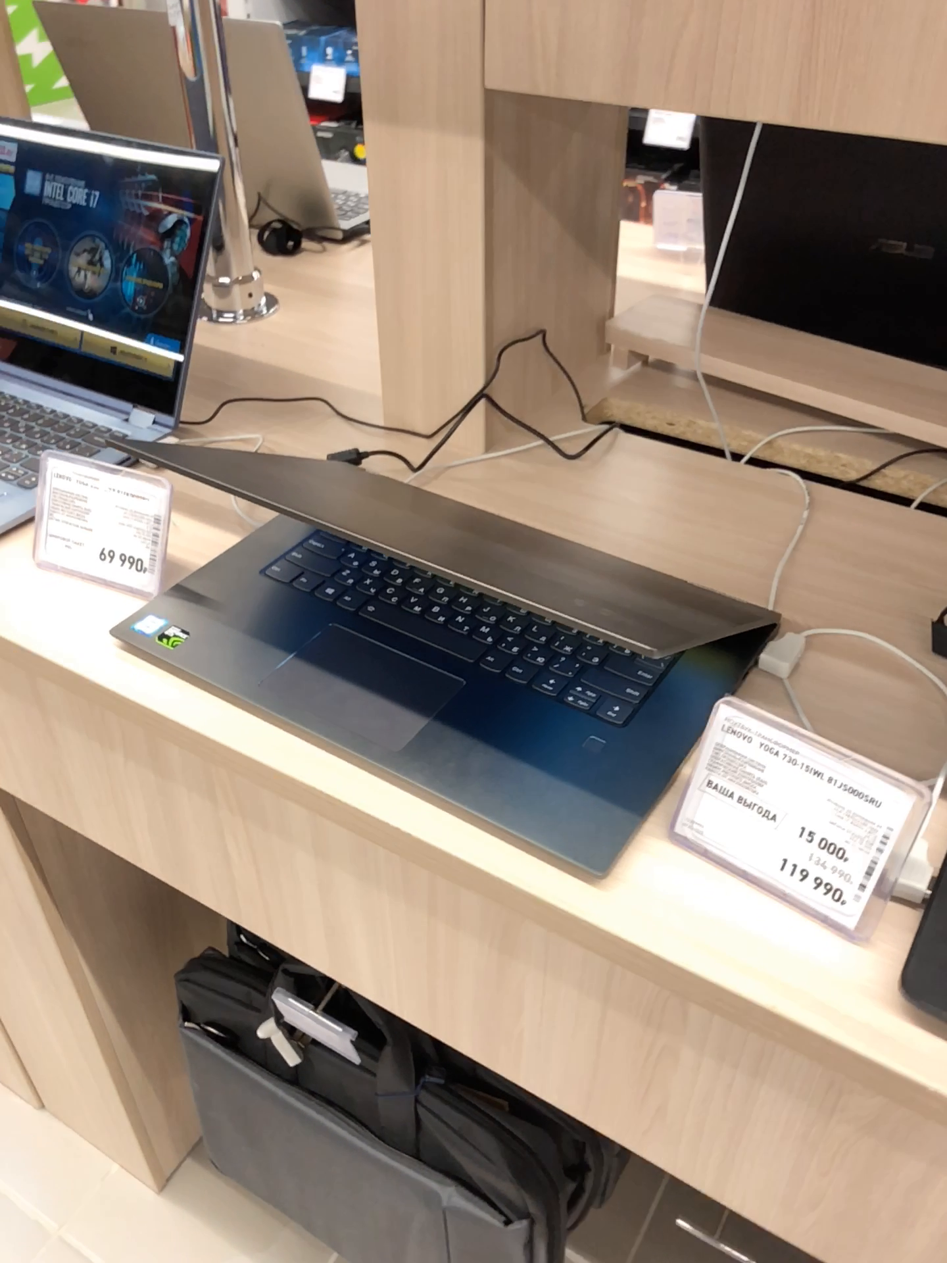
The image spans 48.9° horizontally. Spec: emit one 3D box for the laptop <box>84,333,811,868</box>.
[{"bbox_3d":[-0.015,-0.051,0.658,0.362,0.118,0.243,22,43,26],"label":"laptop"}]

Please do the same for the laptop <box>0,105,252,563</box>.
[{"bbox_3d":[-0.439,-0.286,0.895,0.354,0.201,0.344,21,42,24],"label":"laptop"}]

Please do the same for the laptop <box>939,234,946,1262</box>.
[{"bbox_3d":[0.458,0.044,0.419,0.402,0.240,0.305,20,43,25],"label":"laptop"}]
